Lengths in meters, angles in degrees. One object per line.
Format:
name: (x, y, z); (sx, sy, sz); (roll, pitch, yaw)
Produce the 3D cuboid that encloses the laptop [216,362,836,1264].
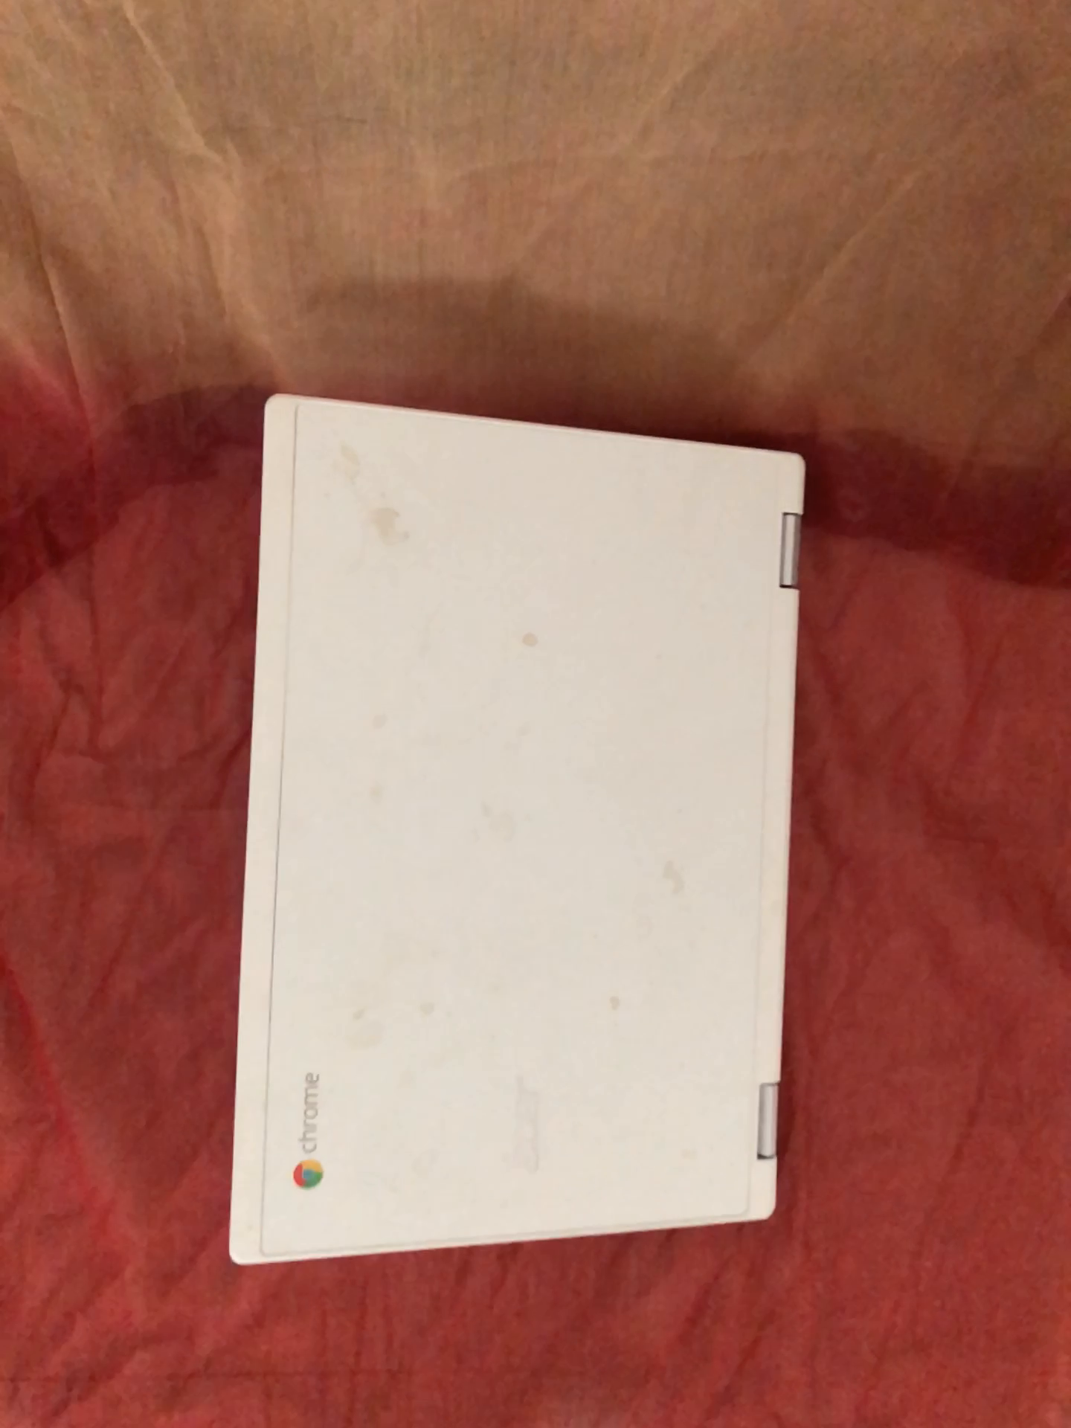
laptop: (-0.002, 0.034, 0.420); (0.189, 0.056, 0.288); (4, 88, -3)
